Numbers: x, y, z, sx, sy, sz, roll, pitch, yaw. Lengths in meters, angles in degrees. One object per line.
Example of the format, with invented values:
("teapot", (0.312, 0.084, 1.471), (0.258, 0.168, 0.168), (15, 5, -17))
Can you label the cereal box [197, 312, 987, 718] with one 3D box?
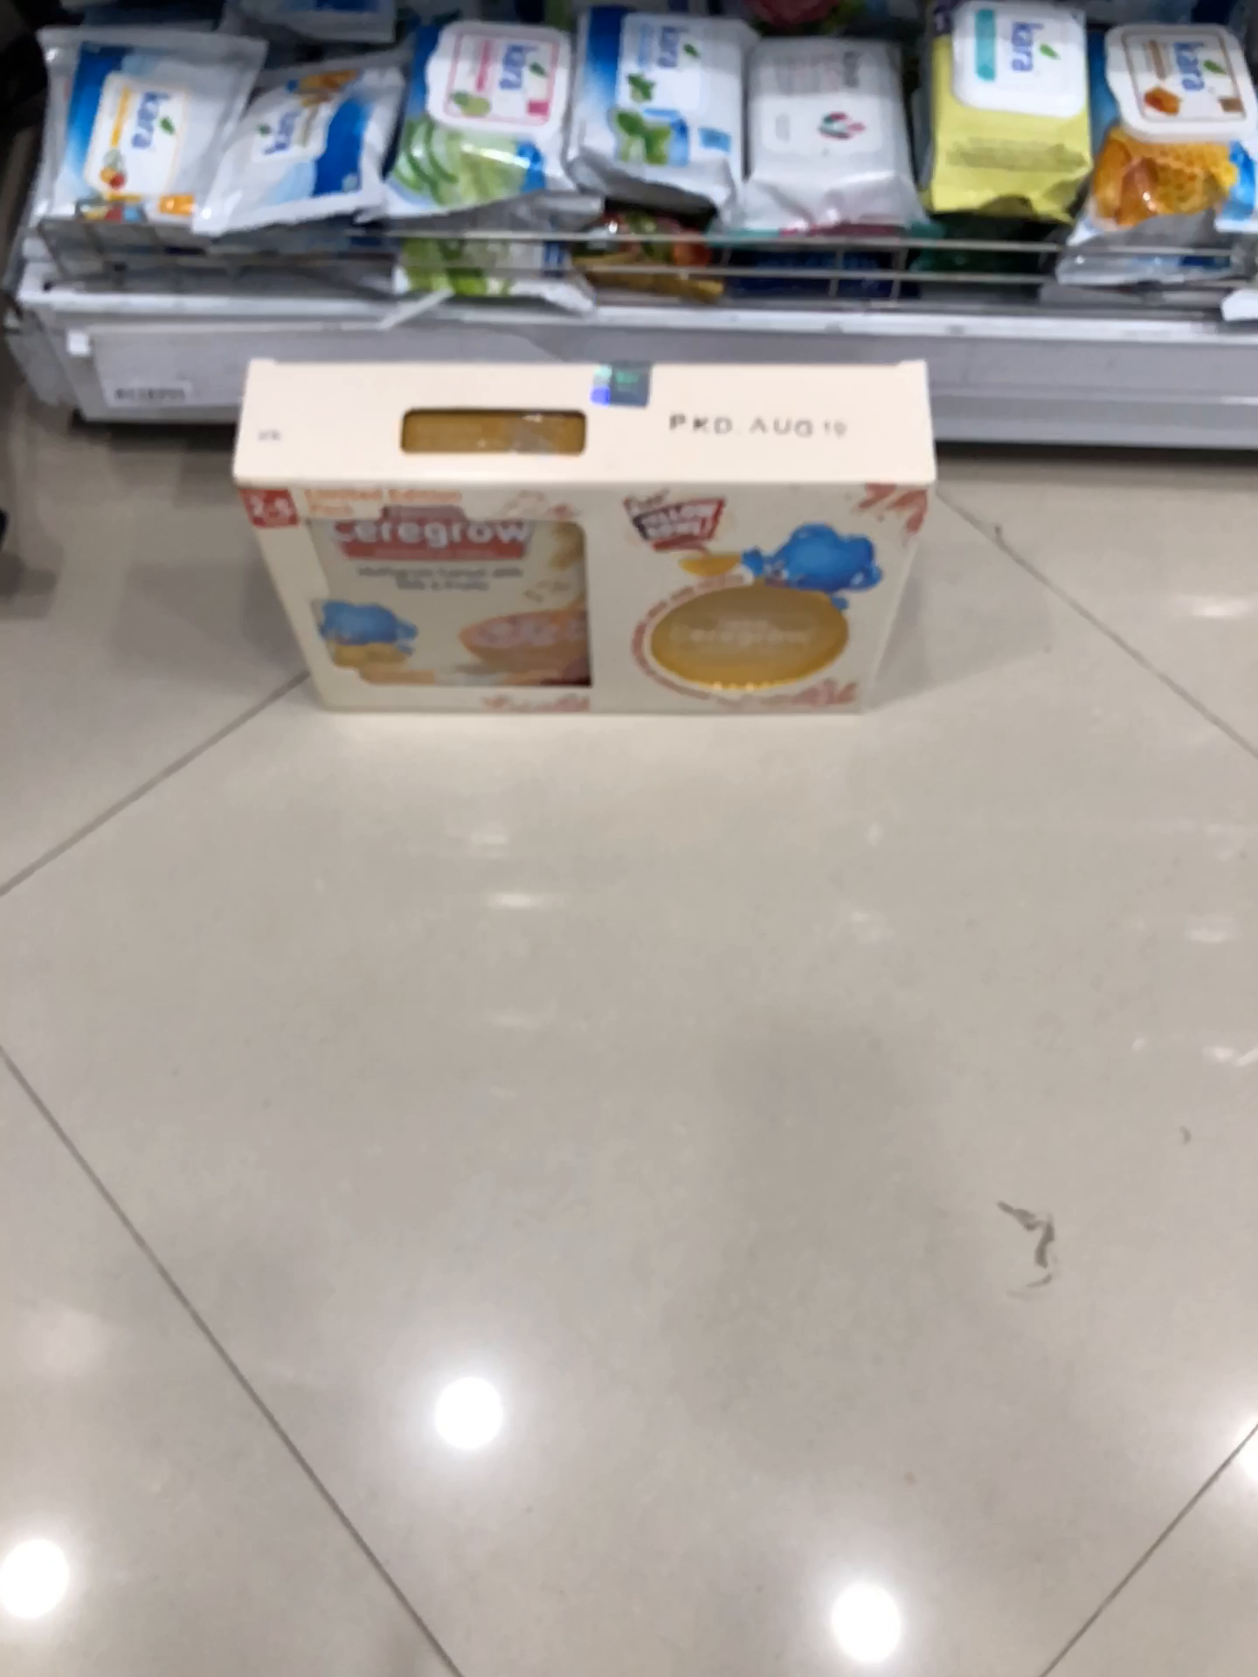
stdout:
("cereal box", (-0.014, -0.141, 0.660), (0.310, 0.209, 0.070), (1, 66, 0))
